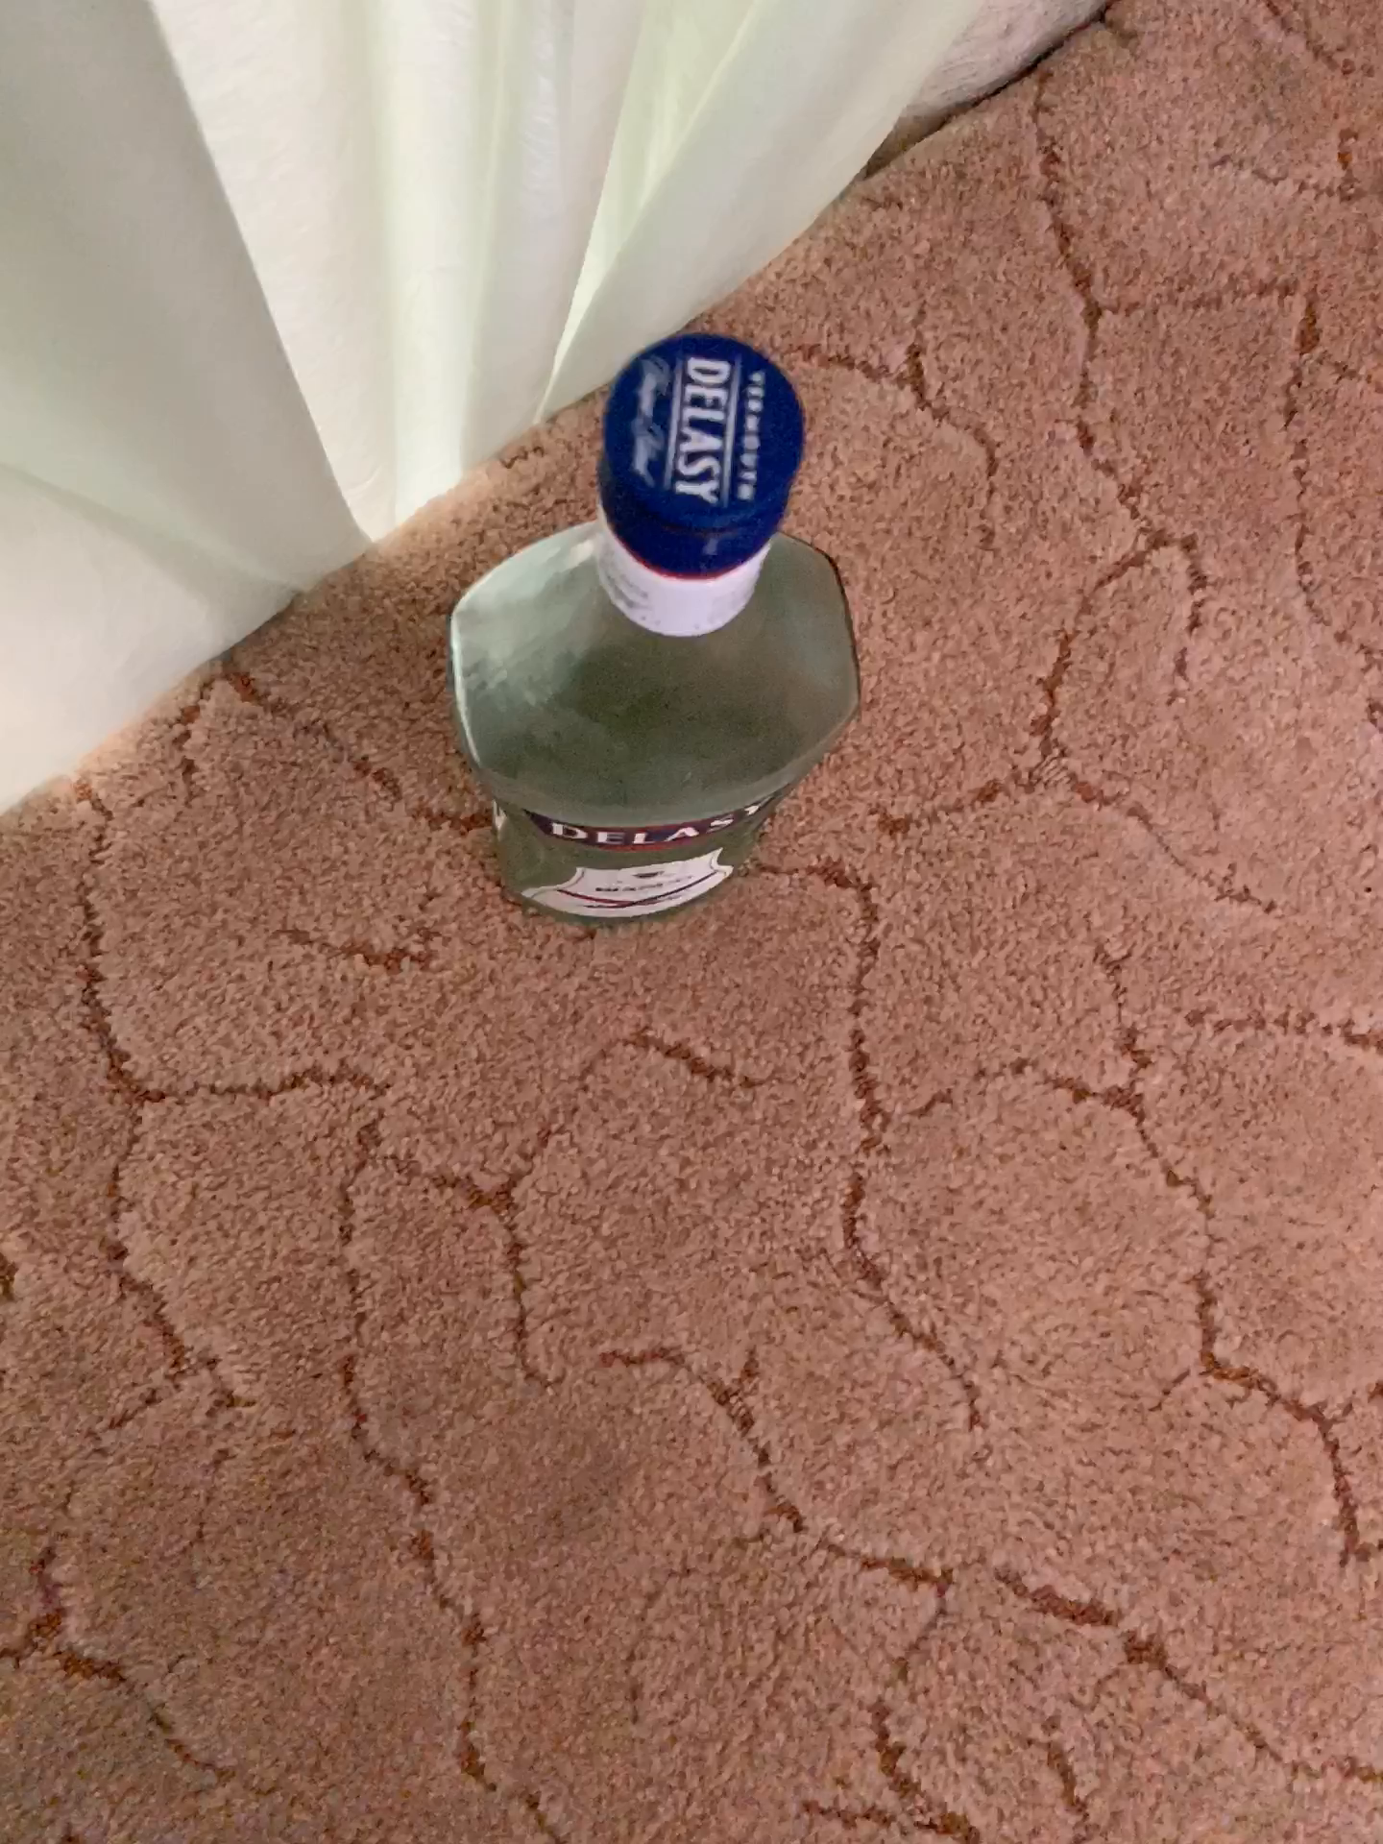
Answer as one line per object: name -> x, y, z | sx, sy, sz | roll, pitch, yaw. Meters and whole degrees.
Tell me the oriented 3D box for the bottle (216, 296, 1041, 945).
bottle -> -0.017, -0.040, 0.359 | 0.110, 0.330, 0.060 | -4, 85, -3
